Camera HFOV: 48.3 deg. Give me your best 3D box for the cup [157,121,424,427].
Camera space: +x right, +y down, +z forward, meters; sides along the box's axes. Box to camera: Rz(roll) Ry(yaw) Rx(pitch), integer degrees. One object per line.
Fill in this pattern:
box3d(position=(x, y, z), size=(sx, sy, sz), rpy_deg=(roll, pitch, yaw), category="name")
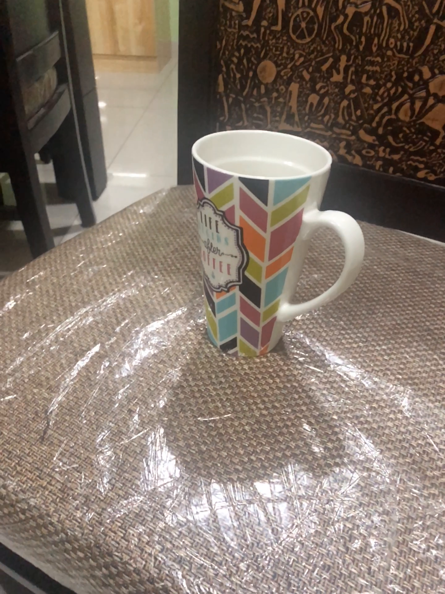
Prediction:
box3d(position=(0.032, -0.023, 0.329), size=(0.090, 0.139, 0.130), rpy_deg=(-24, 43, -35), category="cup")
